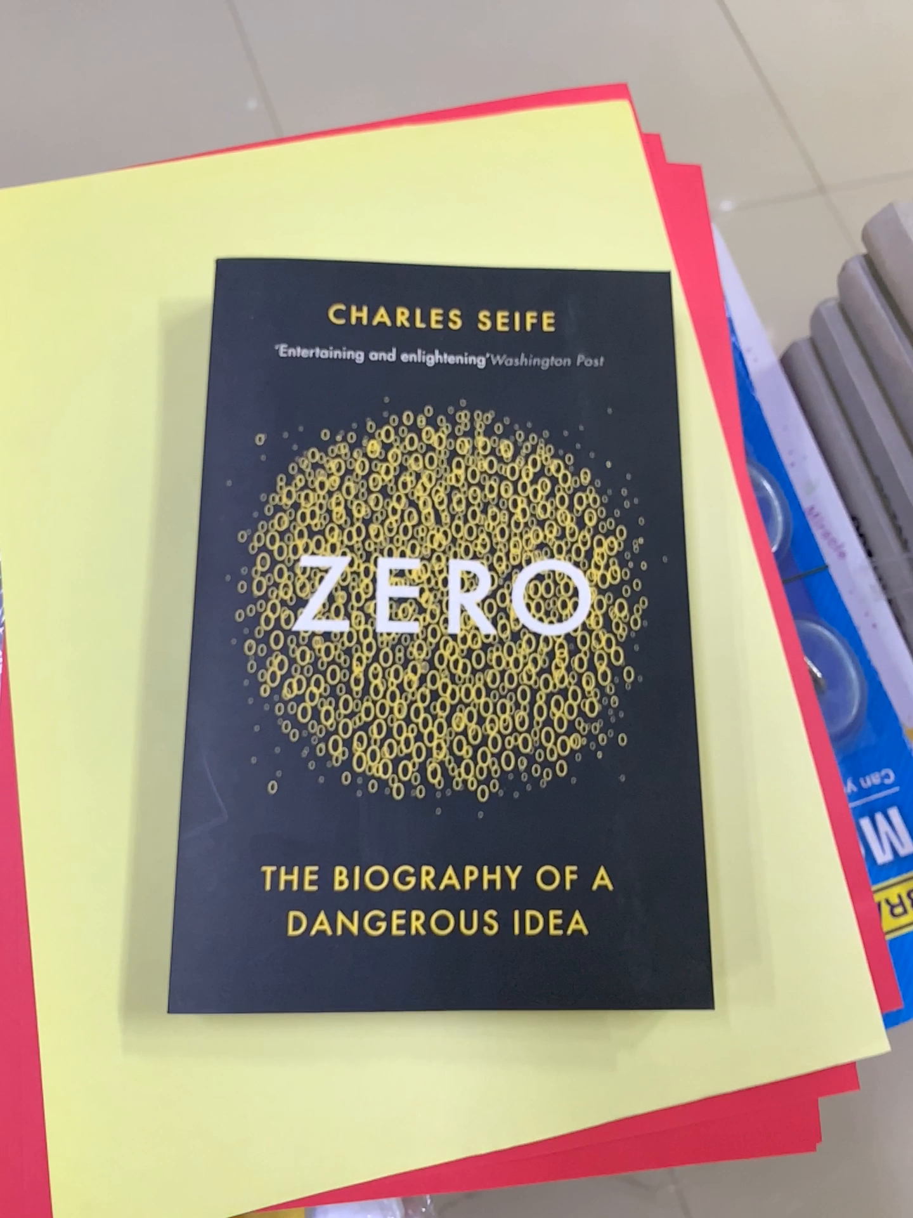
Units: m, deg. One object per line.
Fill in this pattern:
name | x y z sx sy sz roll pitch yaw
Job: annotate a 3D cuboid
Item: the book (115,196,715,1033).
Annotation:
book | -0.009 -0.003 0.248 0.130 0.040 0.200 1 78 -4
